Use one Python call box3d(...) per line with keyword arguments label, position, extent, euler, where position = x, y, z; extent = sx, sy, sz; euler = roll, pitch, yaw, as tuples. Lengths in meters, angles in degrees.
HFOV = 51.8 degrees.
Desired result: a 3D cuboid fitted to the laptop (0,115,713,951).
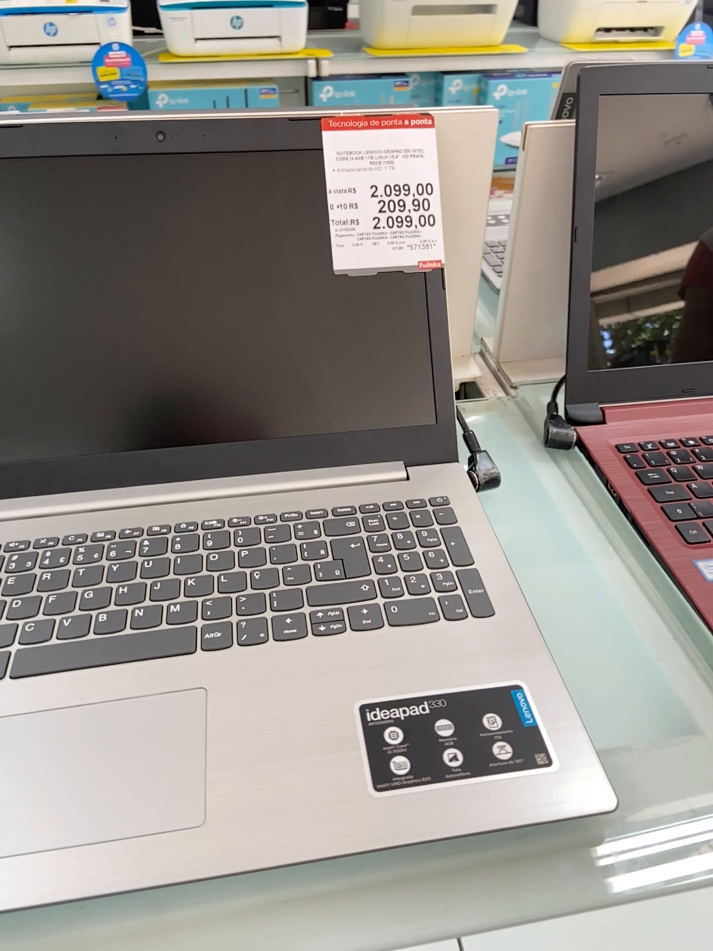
box3d(label="laptop", position=(-0.099, -0.035, 0.388), extent=(0.370, 0.194, 0.391), euler=(-5, 38, -7))
